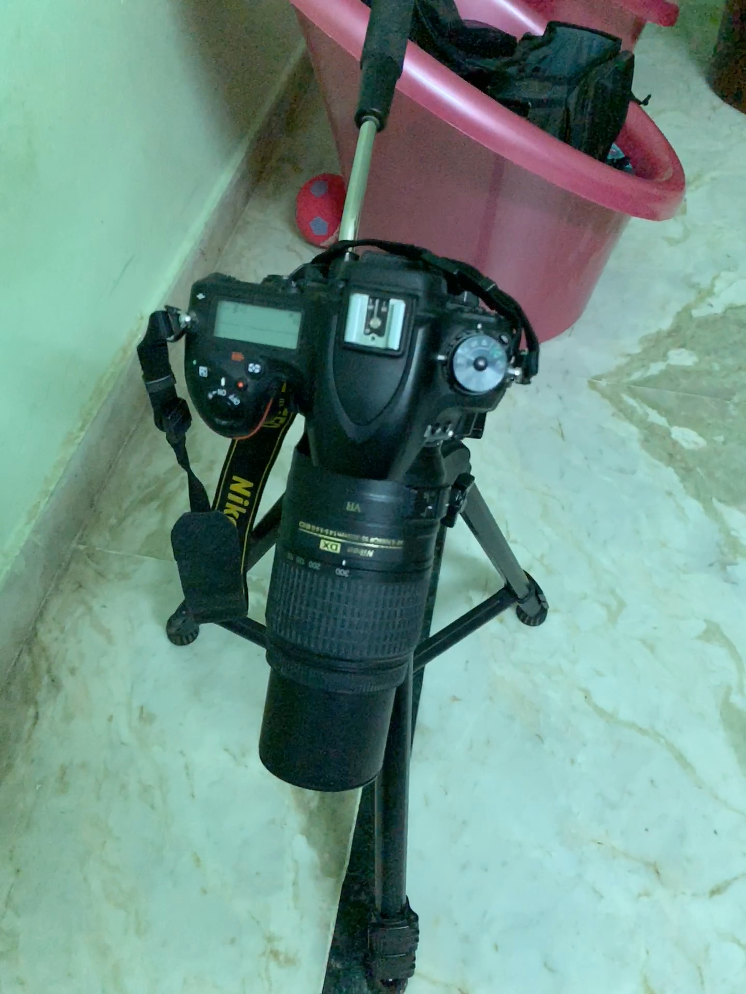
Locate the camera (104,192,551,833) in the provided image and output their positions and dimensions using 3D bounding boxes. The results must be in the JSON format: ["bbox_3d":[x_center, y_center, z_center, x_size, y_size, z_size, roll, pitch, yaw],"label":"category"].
[{"bbox_3d":[-0.016,0.002,0.334,0.130,0.214,0.116,11,9,5],"label":"camera"}]
